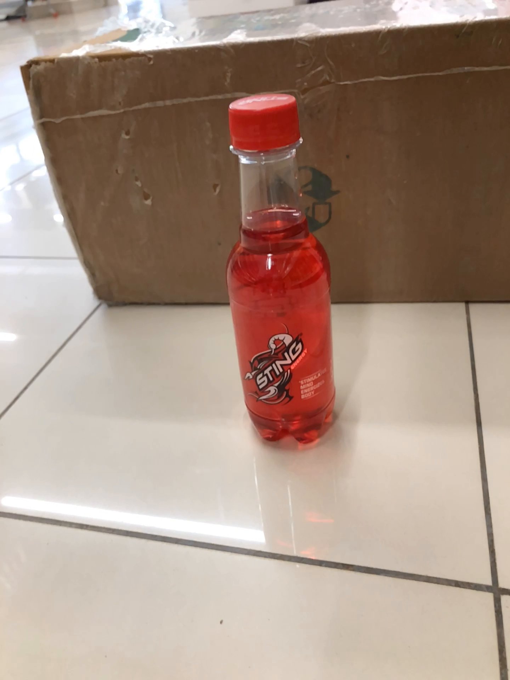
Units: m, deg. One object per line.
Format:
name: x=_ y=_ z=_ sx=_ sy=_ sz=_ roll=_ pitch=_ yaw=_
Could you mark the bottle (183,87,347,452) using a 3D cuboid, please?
bottle: x=0.015 y=-0.030 z=0.301 sx=0.060 sy=0.179 sz=0.060 roll=-5 pitch=32 yaw=3
